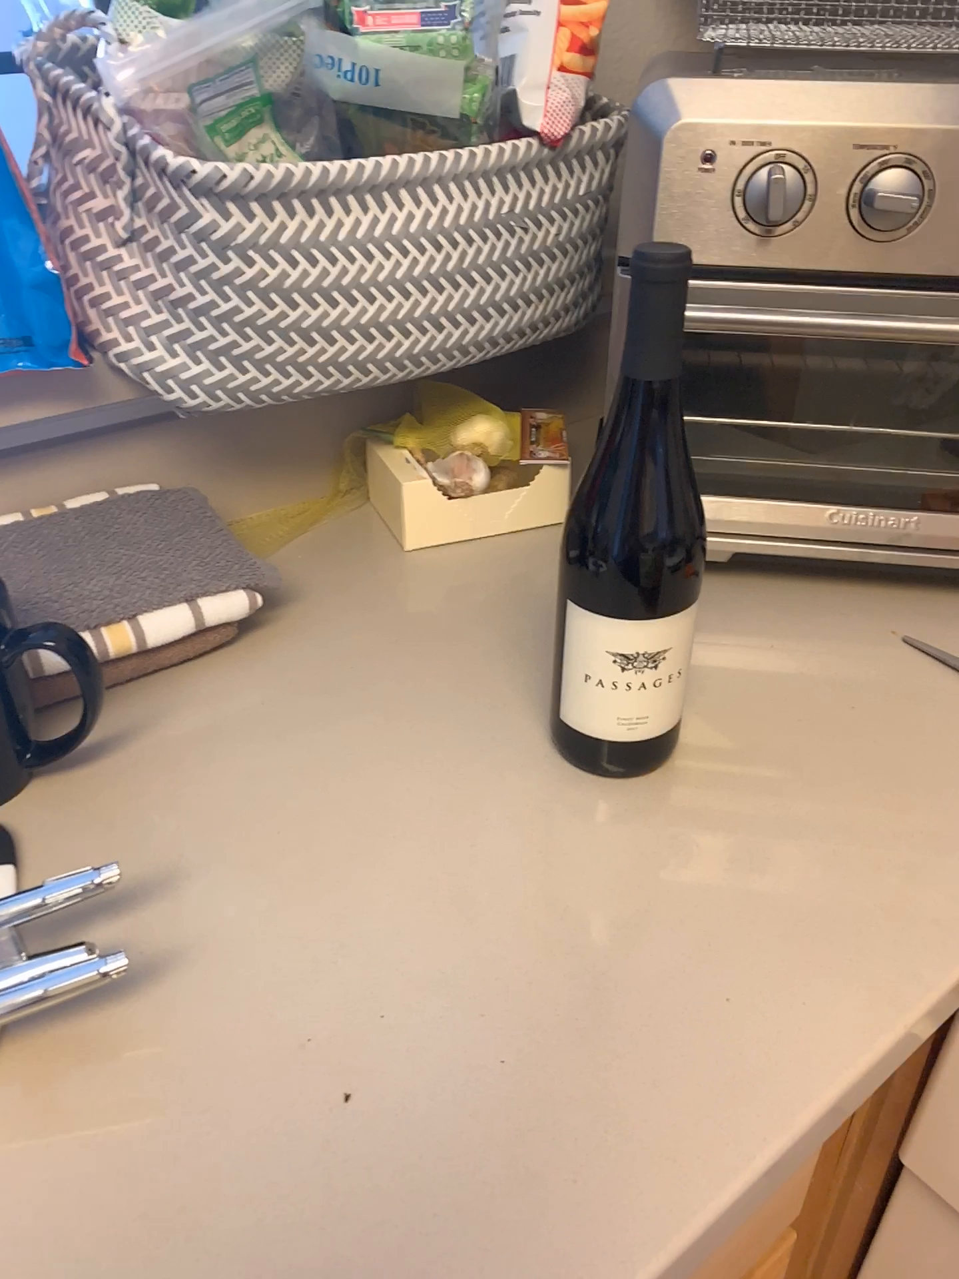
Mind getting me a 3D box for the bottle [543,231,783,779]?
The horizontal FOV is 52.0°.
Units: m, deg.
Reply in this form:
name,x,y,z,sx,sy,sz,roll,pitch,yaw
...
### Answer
name,x,y,z,sx,sy,sz,roll,pitch,yaw
bottle,0.082,-0.061,0.514,0.080,0.268,0.091,-1,32,-2
